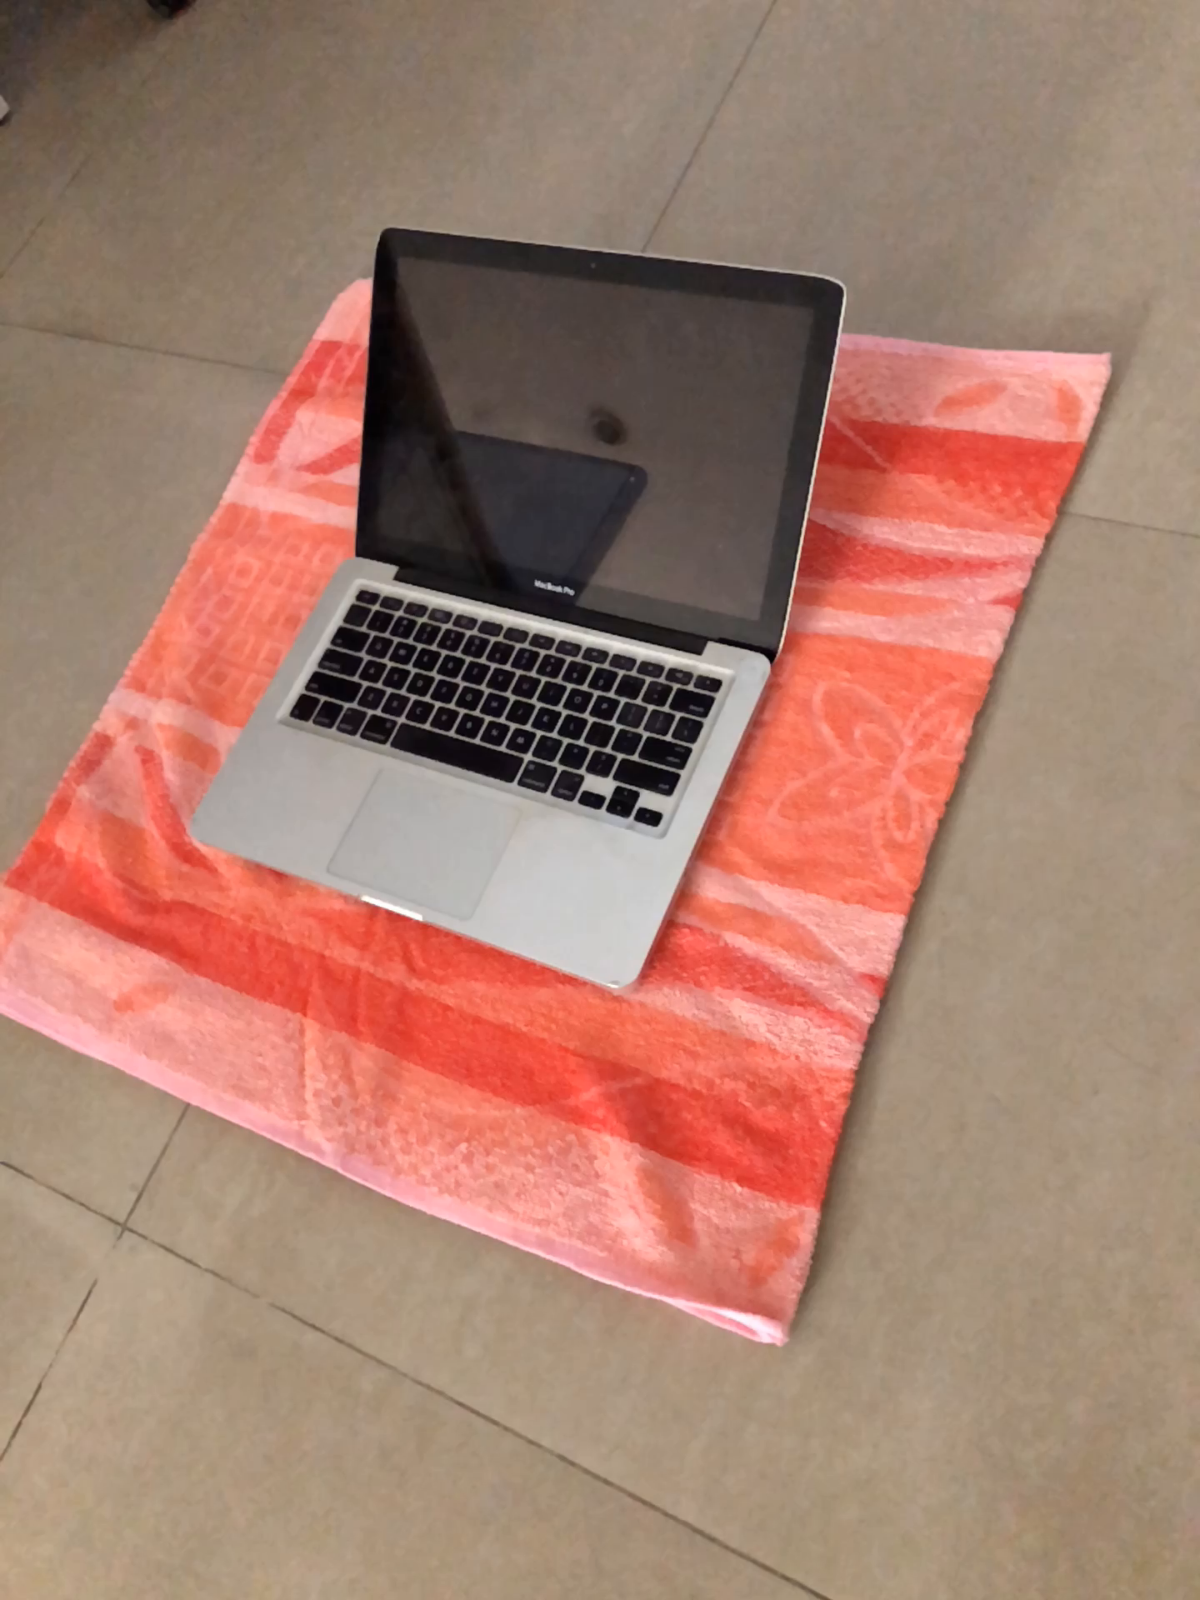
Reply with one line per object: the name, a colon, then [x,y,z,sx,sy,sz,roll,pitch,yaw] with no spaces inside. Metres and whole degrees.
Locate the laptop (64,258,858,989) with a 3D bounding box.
laptop: [-0.064,-0.123,0.787,0.309,0.133,0.373,17,68,22]
